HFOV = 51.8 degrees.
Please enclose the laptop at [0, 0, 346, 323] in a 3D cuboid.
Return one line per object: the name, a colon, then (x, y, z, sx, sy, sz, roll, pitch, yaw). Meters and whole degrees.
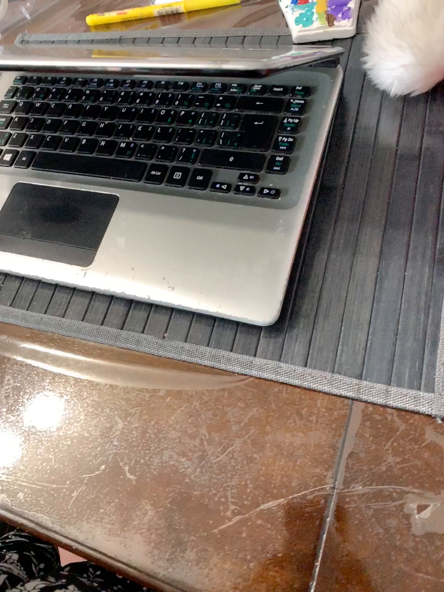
laptop: (-0.109, -0.143, 0.327, 0.344, 0.141, 0.225, 11, 70, 18)
